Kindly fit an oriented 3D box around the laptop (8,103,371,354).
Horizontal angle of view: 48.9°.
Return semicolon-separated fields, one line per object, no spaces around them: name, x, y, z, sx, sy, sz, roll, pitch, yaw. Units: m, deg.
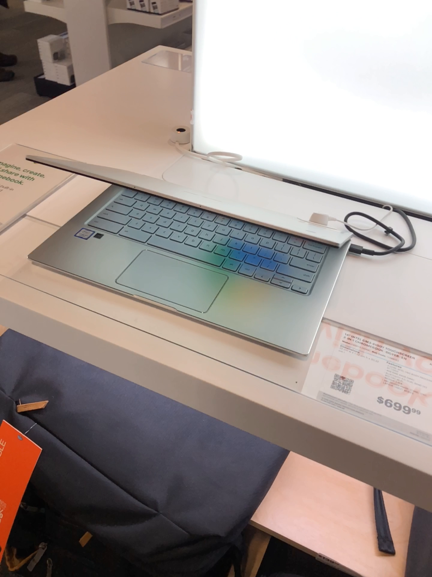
laptop;-0.022;-0.084;0.506;0.311;0.102;0.193;18;45;17
